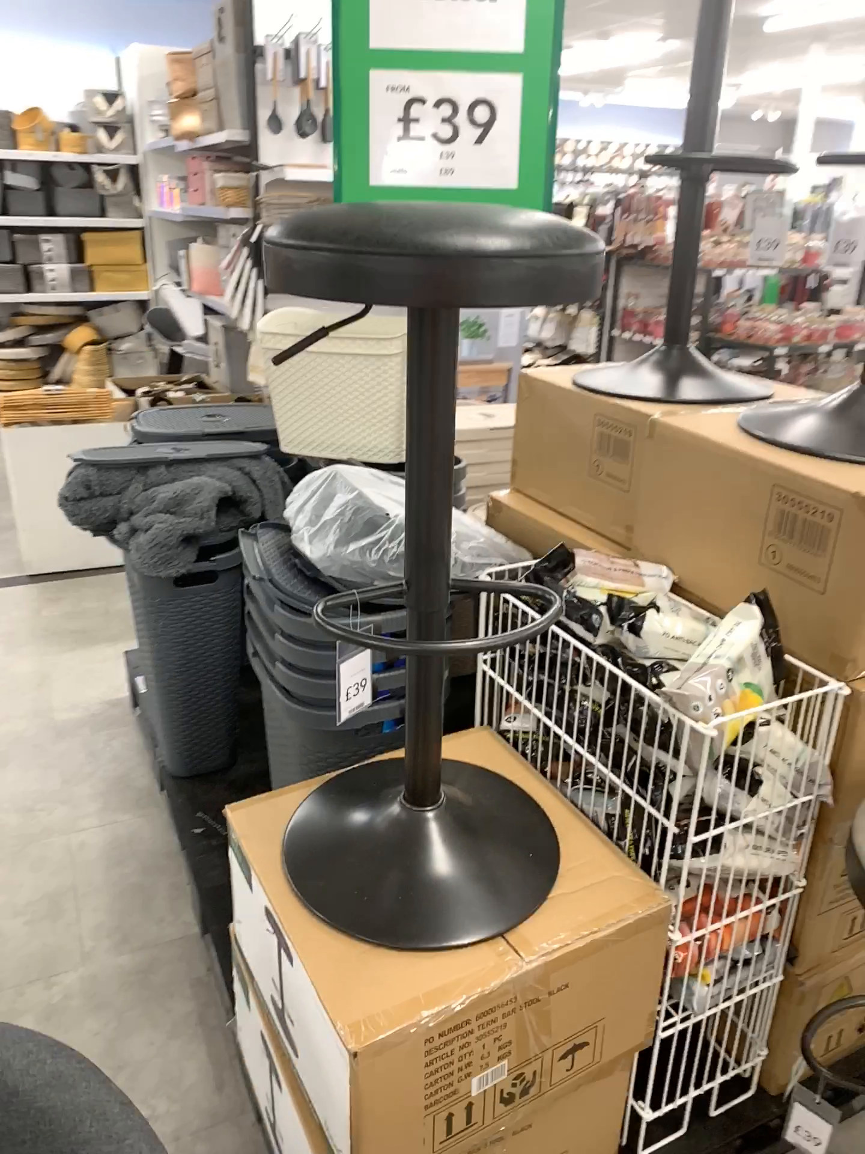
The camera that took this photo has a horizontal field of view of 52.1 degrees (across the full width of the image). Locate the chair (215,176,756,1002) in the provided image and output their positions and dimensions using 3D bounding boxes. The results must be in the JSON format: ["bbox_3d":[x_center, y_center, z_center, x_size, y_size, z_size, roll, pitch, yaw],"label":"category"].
[{"bbox_3d":[0.014,-0.023,1.035,0.396,0.794,0.410,-9,24,-24],"label":"chair"}]
